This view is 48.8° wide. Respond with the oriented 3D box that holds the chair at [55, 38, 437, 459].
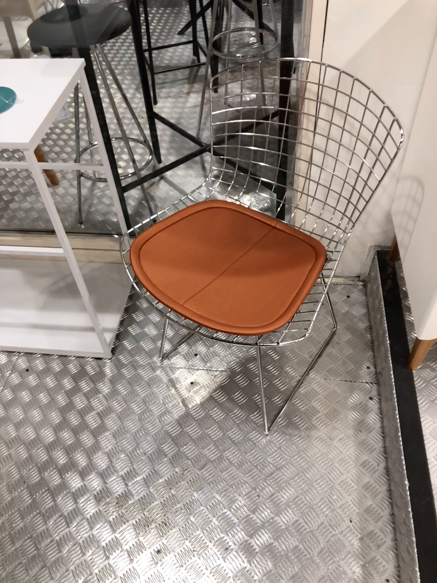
[{"bbox_3d":[0.099,-0.113,1.206,0.552,0.705,0.572,28,55,27],"label":"chair"}]
